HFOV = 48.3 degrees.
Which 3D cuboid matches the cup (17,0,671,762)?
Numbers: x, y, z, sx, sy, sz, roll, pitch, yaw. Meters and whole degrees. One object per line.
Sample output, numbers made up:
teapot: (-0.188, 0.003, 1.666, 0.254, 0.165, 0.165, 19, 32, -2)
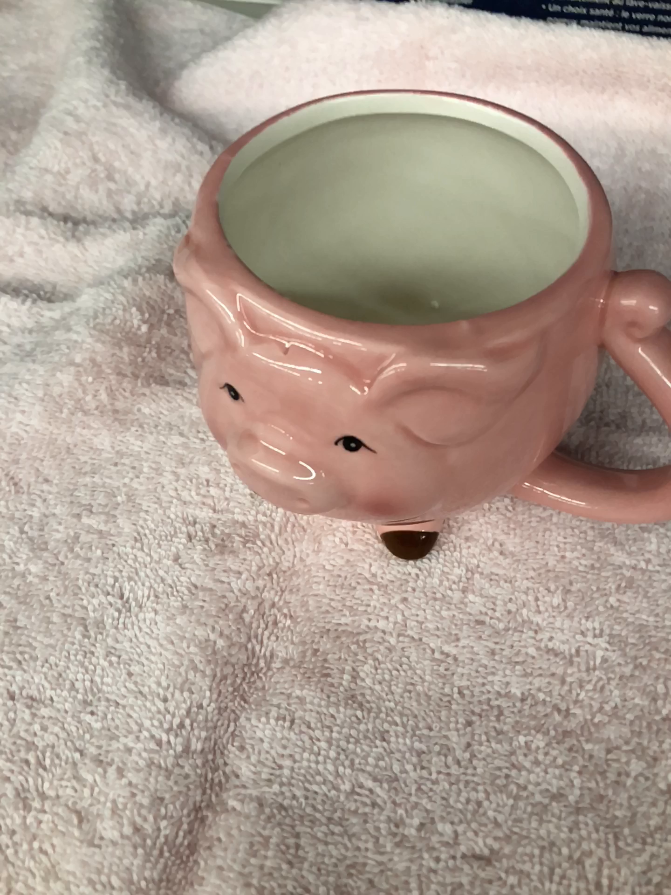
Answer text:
cup: (0.030, -0.021, 0.180, 0.150, 0.090, 0.100, 27, 61, 19)
